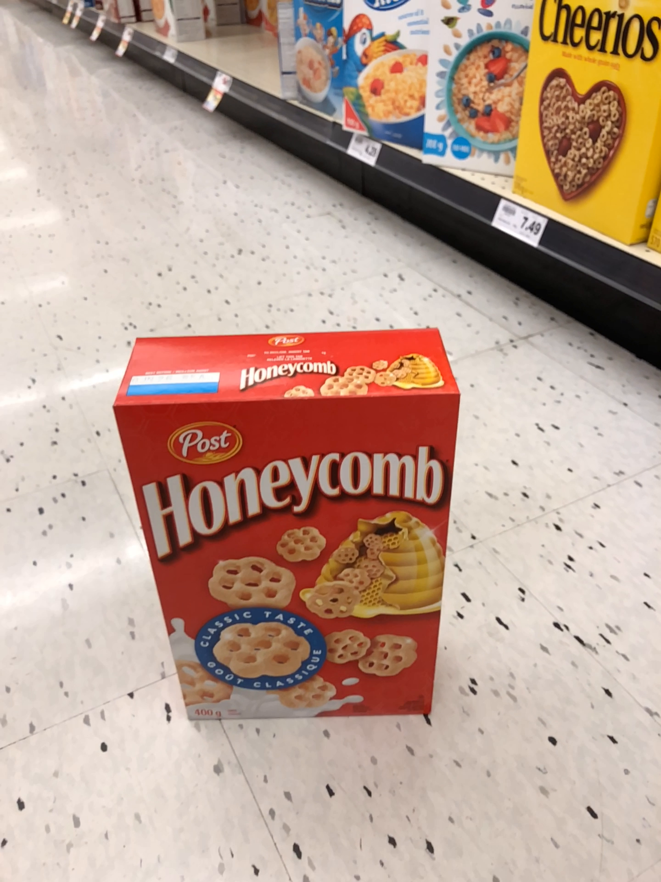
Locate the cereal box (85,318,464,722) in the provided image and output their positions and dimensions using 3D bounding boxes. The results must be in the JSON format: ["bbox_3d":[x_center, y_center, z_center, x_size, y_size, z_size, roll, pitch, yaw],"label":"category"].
[{"bbox_3d":[-0.027,0.071,0.506,0.200,0.298,0.081,-1,36,0],"label":"cereal box"}]
